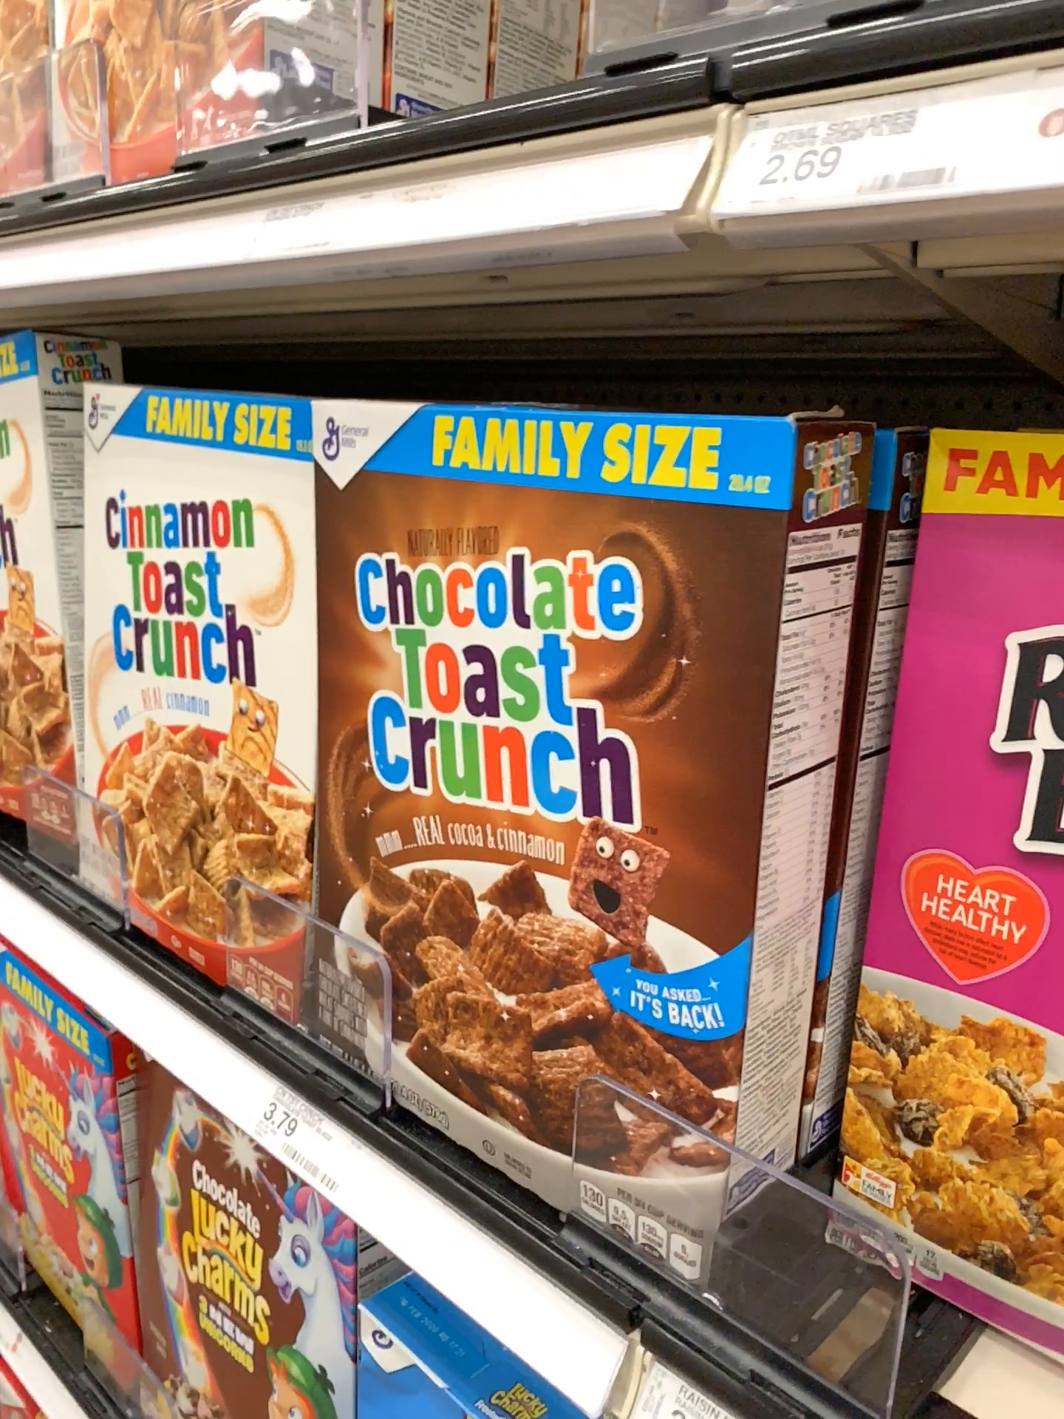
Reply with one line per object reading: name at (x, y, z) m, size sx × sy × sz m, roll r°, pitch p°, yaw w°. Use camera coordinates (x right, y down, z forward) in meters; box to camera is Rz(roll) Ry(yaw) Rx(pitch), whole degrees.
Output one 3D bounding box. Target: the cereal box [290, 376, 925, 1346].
cereal box at (0.005, 0.033, 0.428) m, size 0.240 × 0.309 × 0.060 m, roll 15°, pitch 19°, yaw 40°
